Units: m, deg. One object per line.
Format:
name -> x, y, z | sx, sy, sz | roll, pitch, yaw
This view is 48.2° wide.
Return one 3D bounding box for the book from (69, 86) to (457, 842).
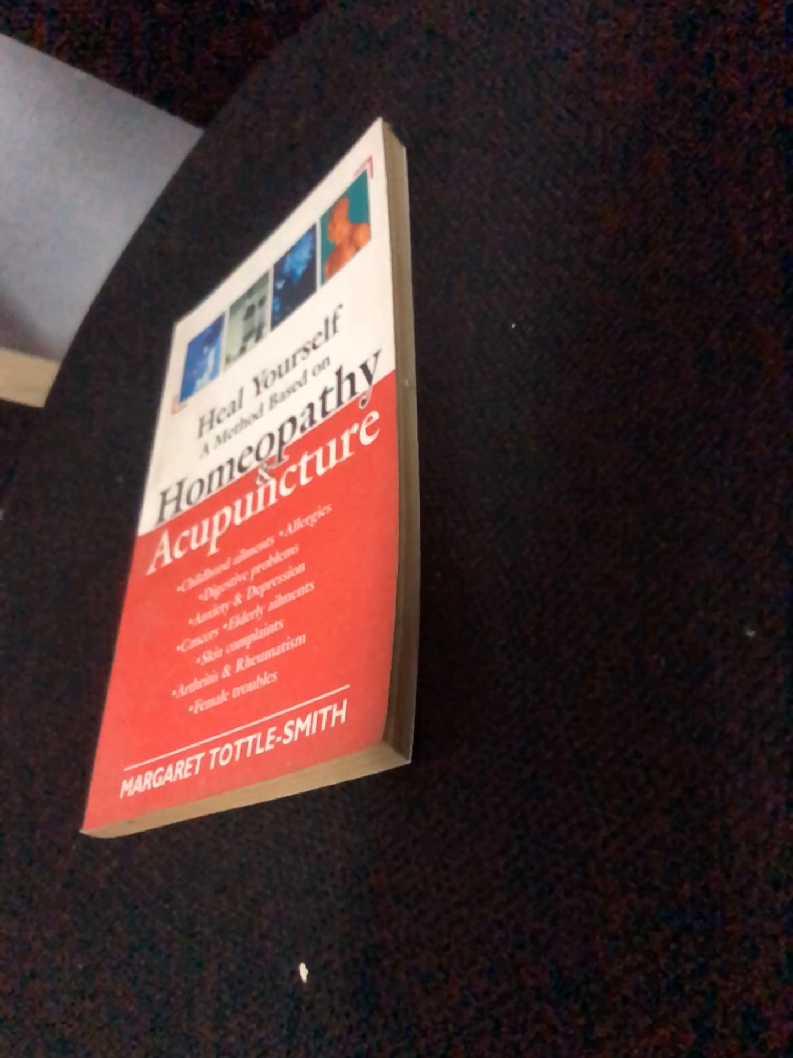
book -> -0.043, -0.022, 0.294 | 0.150, 0.020, 0.220 | -27, 50, 40
